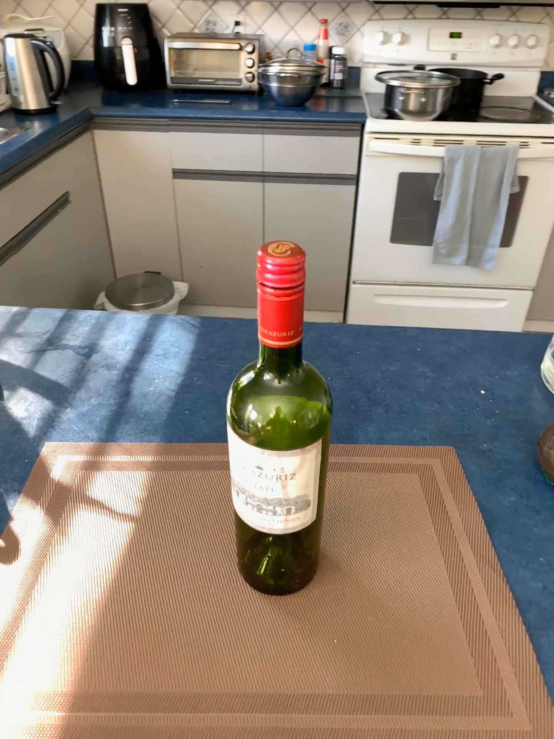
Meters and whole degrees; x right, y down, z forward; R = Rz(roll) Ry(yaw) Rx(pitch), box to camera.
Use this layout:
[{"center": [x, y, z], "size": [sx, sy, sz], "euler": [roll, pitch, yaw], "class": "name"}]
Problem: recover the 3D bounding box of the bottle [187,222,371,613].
[{"center": [0.002, 0.047, 0.415], "size": [0.080, 0.277, 0.081], "euler": [0, 34, 0], "class": "bottle"}]
